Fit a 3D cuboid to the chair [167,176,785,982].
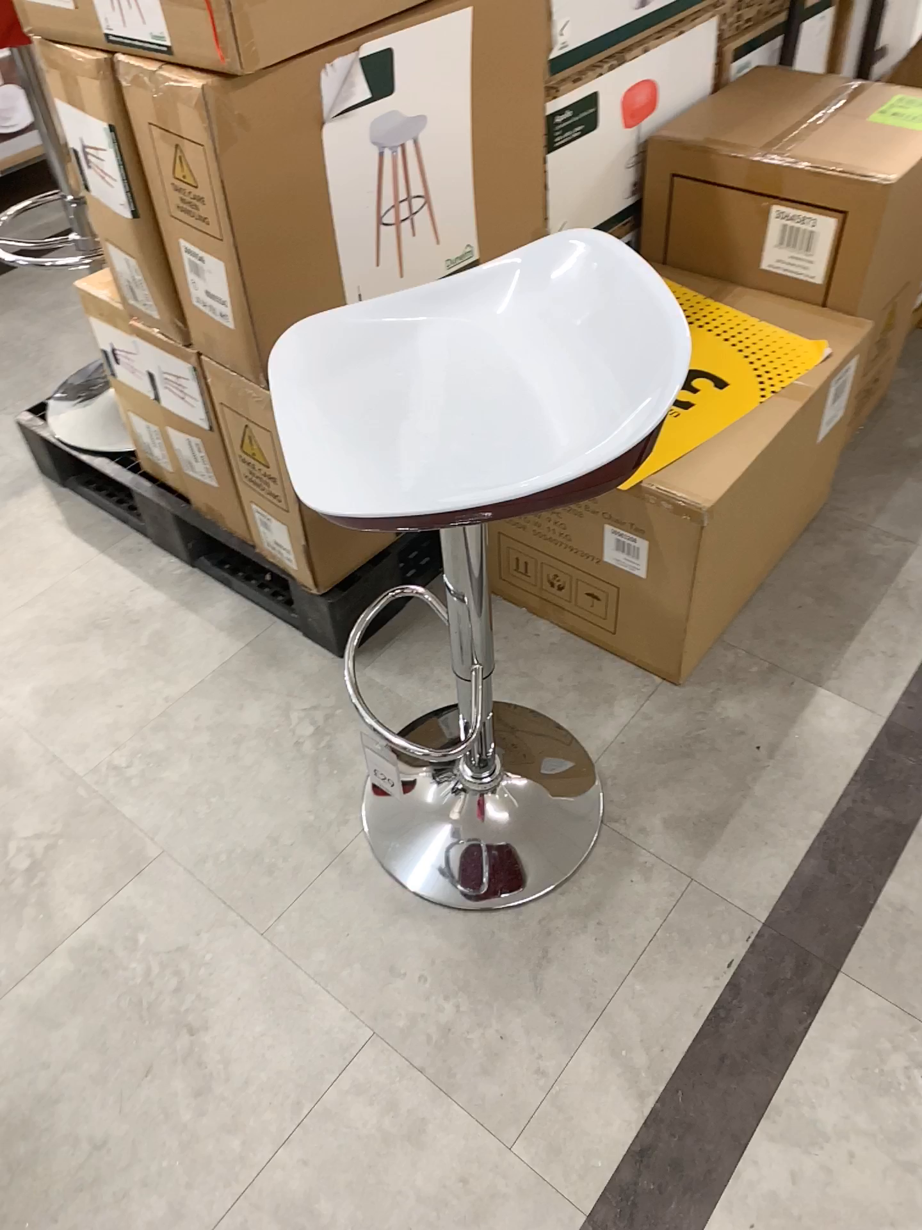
[{"bbox_3d":[0.000,-0.003,1.136,0.452,0.797,0.447,-14,46,-9],"label":"chair"}]
